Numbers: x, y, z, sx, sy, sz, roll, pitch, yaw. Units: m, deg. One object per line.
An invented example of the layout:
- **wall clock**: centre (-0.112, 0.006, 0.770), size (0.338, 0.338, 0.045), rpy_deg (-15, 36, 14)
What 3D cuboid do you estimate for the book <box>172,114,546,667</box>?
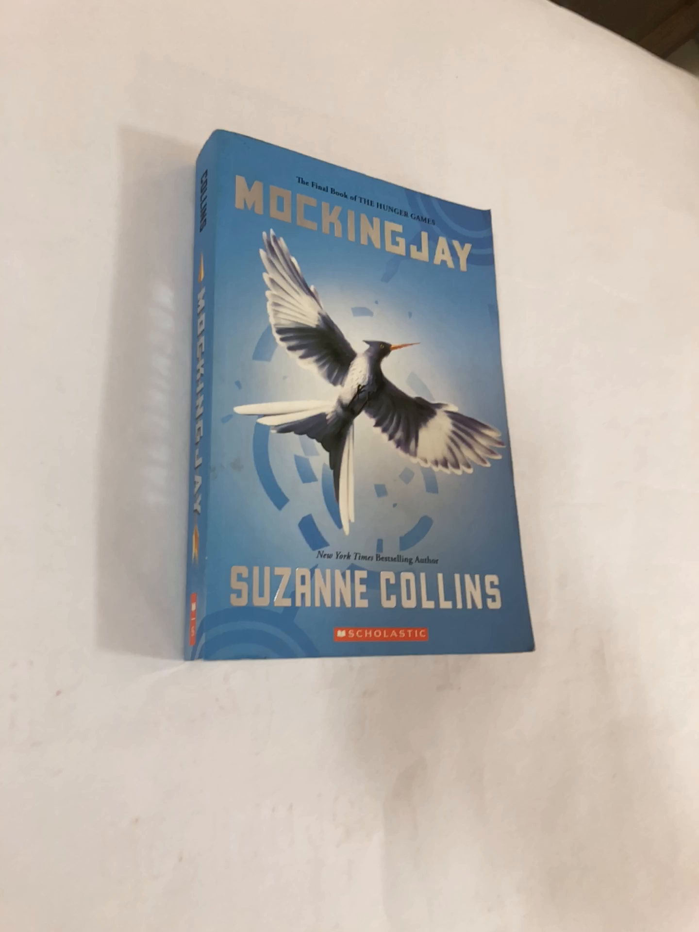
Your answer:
- **book**: centre (0.006, -0.023, 0.300), size (0.138, 0.029, 0.190), rpy_deg (6, 74, -30)
